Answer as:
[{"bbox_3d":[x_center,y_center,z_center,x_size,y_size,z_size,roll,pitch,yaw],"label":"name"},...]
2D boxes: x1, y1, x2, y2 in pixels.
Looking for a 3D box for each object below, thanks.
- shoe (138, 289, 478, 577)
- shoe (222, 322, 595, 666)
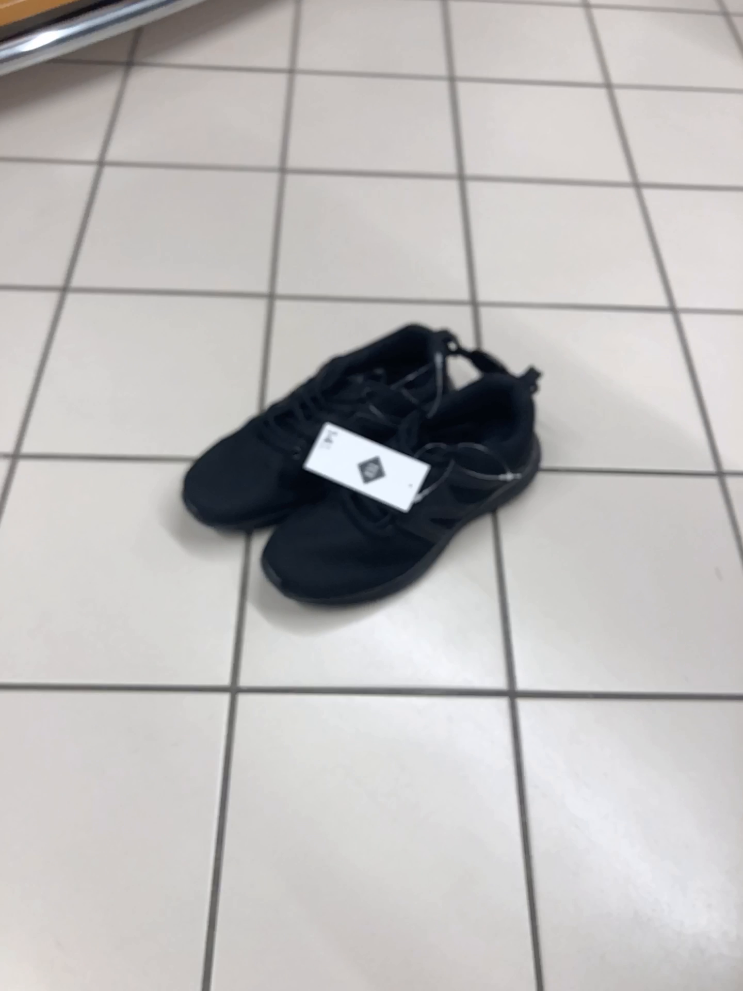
[{"bbox_3d":[-0.047,-0.056,0.693,0.251,0.110,0.100,-29,62,-21],"label":"shoe"},{"bbox_3d":[0.031,-0.006,0.649,0.271,0.119,0.100,-33,64,-23],"label":"shoe"}]
